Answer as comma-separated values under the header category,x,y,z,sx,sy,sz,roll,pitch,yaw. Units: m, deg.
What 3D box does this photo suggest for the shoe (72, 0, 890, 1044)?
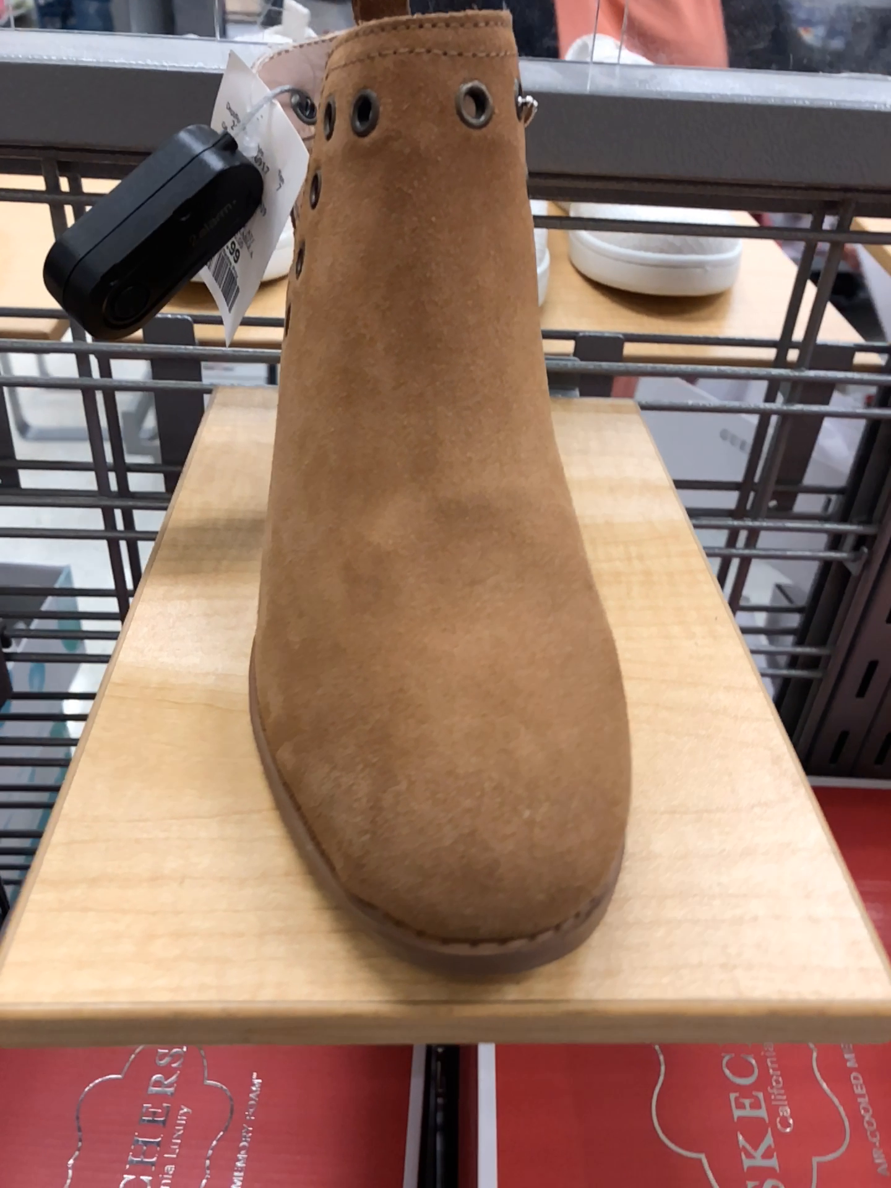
category,x,y,z,sx,sy,sz,roll,pitch,yaw
shoe,-0.006,-0.061,0.246,0.092,0.129,0.282,0,37,-7
